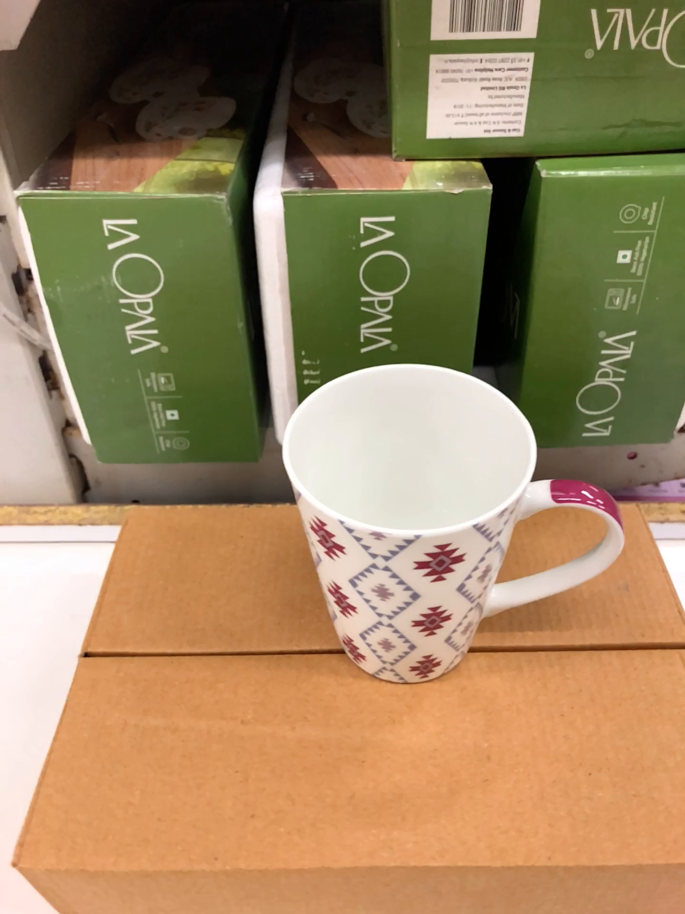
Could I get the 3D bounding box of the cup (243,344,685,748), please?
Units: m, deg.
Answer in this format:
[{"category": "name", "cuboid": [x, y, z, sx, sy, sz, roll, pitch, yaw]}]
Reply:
[{"category": "cup", "cuboid": [0.039, 0.029, 0.268, 0.120, 0.099, 0.081, 6, 41, 9]}]
